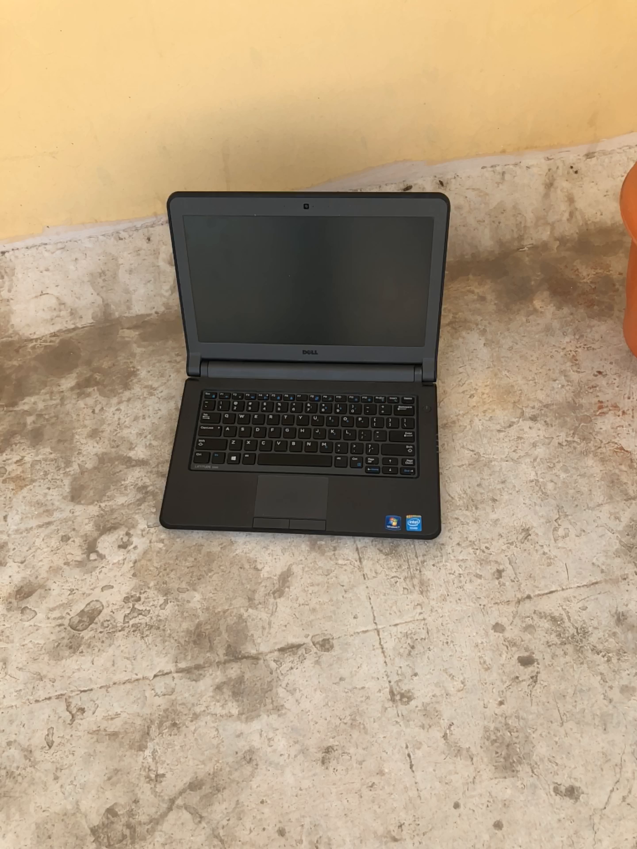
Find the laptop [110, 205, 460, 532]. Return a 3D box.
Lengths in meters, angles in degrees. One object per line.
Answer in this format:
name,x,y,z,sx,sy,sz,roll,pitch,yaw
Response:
laptop,-0.016,-0.064,0.782,0.308,0.208,0.300,1,55,5
